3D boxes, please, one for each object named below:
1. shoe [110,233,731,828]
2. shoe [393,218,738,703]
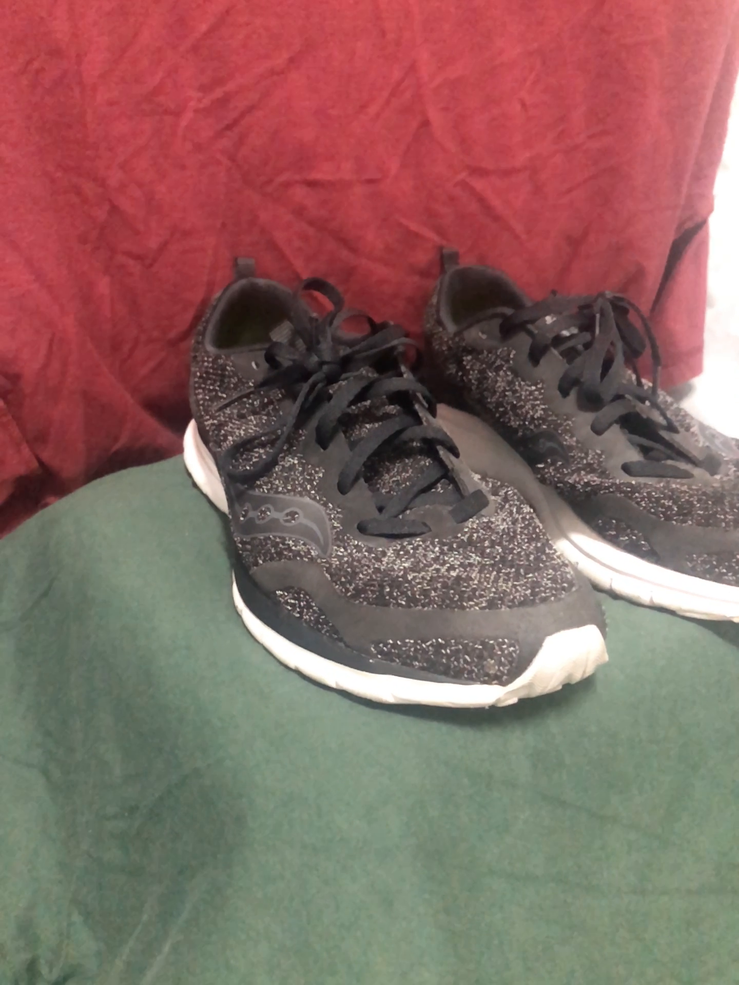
[{"bbox_3d":[-0.011,-0.022,0.338,0.120,0.099,0.272,-14,33,-22],"label":"shoe"},{"bbox_3d":[0.122,-0.044,0.378,0.120,0.099,0.262,-13,33,-21],"label":"shoe"}]
